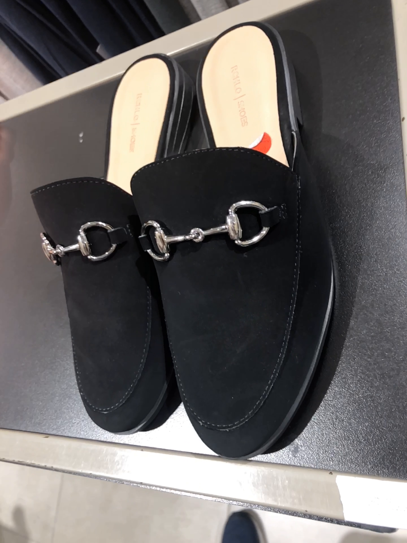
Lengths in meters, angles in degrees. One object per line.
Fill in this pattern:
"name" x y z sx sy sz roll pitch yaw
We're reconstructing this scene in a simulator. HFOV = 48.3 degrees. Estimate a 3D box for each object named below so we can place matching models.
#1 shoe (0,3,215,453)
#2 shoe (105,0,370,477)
"shoe" -0.052 -0.020 0.271 0.090 0.080 0.220 -6 78 30
"shoe" 0.017 -0.027 0.224 0.090 0.070 0.220 -9 71 29
